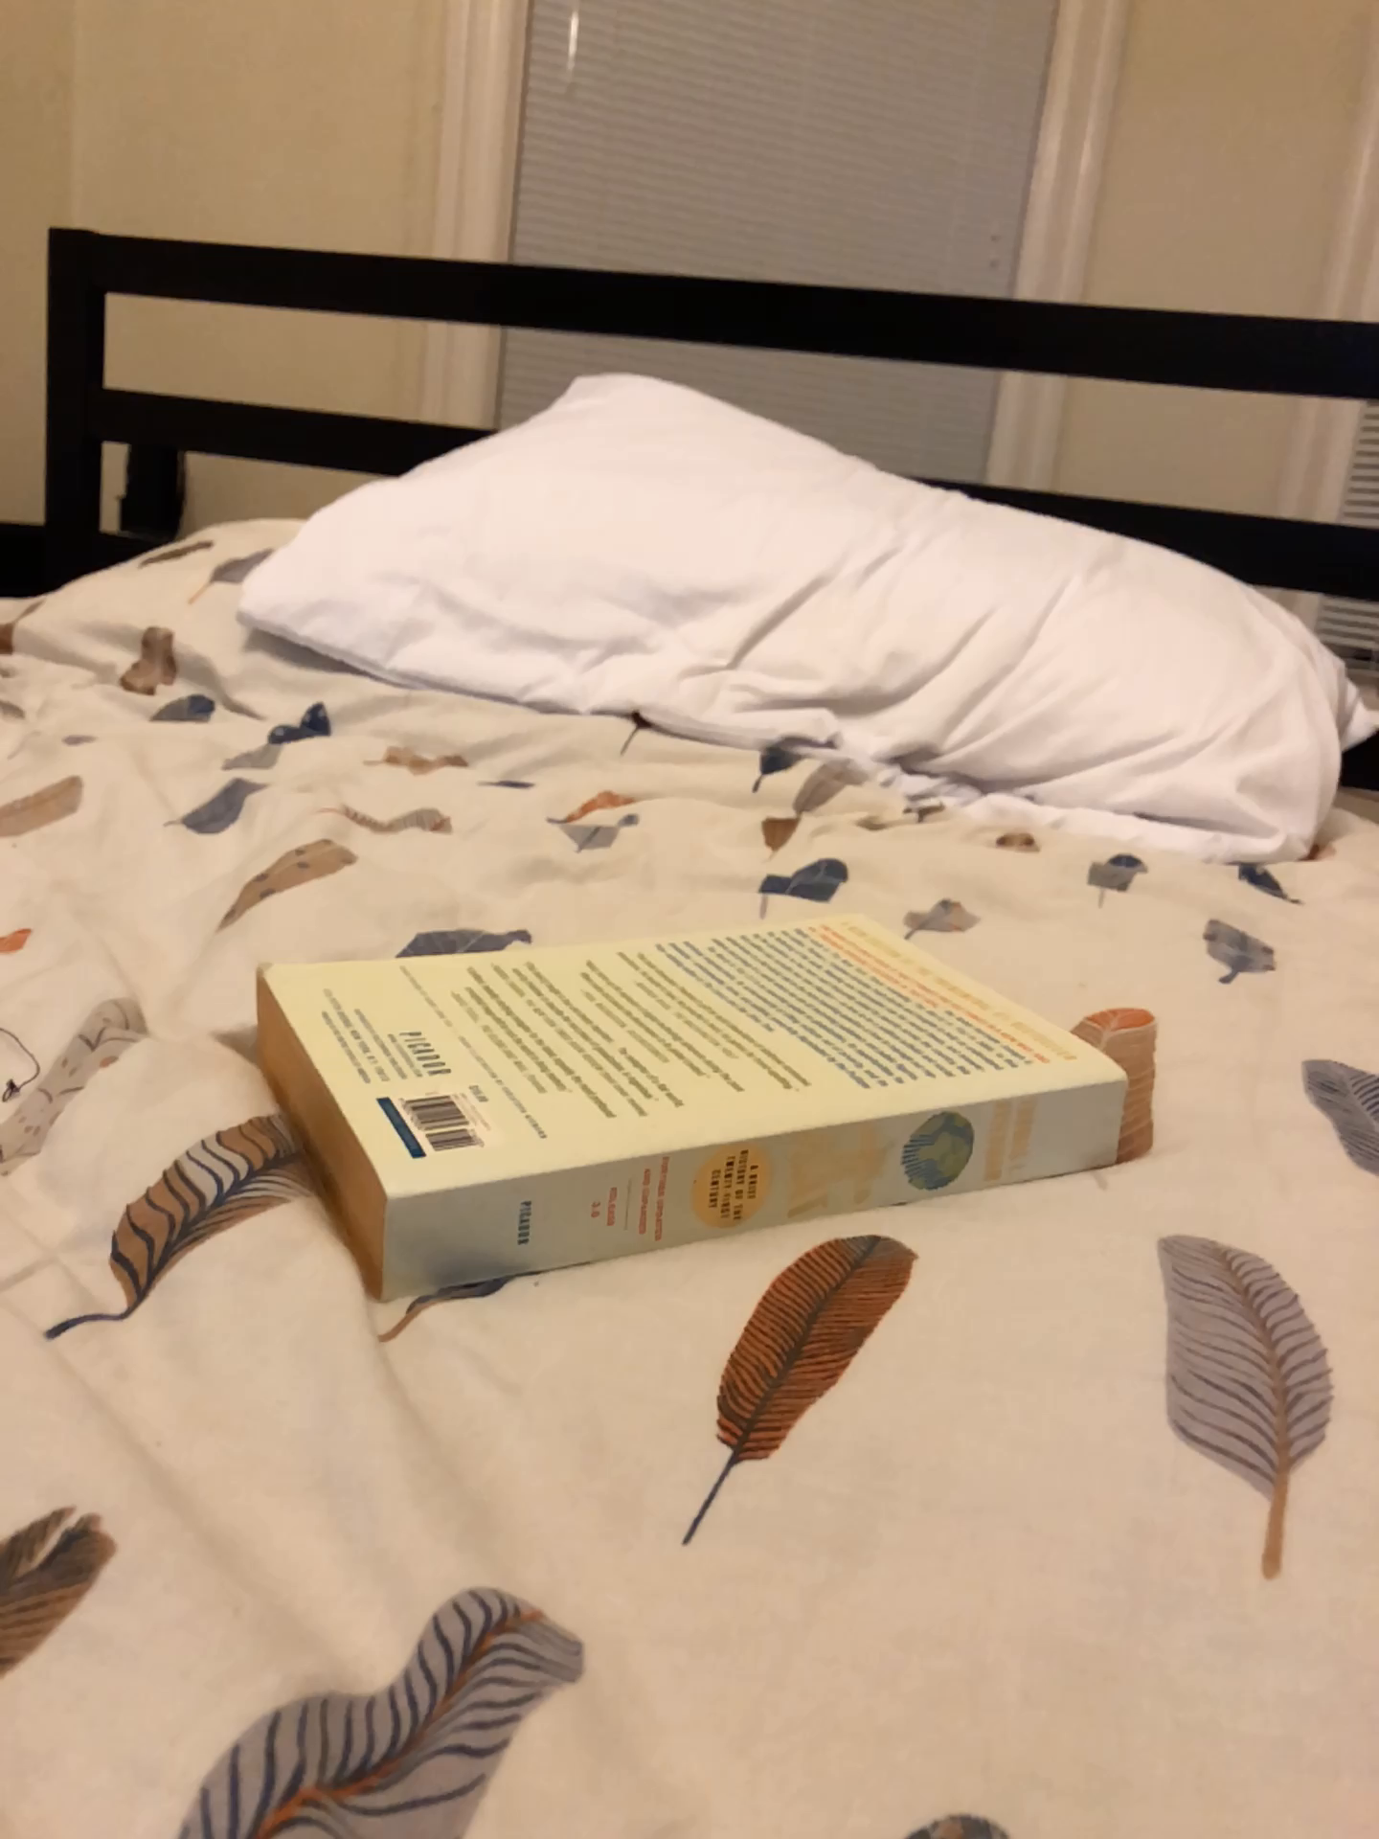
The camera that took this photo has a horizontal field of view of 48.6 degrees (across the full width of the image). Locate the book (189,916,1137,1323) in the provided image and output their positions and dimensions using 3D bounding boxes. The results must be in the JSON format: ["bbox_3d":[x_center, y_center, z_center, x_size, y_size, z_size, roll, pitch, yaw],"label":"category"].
[{"bbox_3d":[-0.011,0.041,0.430,0.220,0.040,0.150,-3,15,-30],"label":"book"}]
